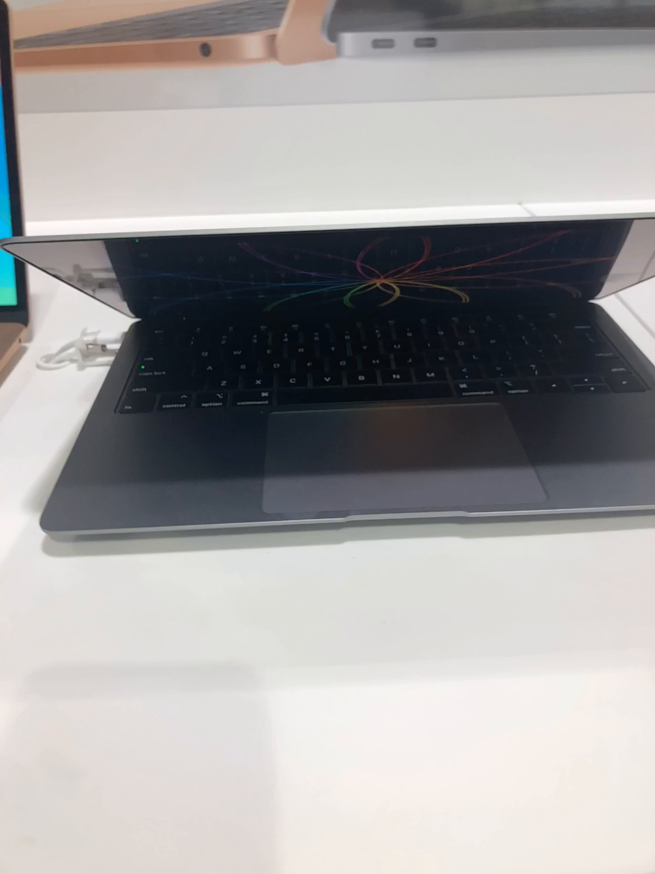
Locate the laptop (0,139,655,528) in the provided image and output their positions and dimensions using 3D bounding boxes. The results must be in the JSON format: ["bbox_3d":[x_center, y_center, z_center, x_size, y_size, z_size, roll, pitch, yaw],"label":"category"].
[{"bbox_3d":[0.020,-0.067,0.354,0.288,0.102,0.200,-2,32,-1],"label":"laptop"}]
